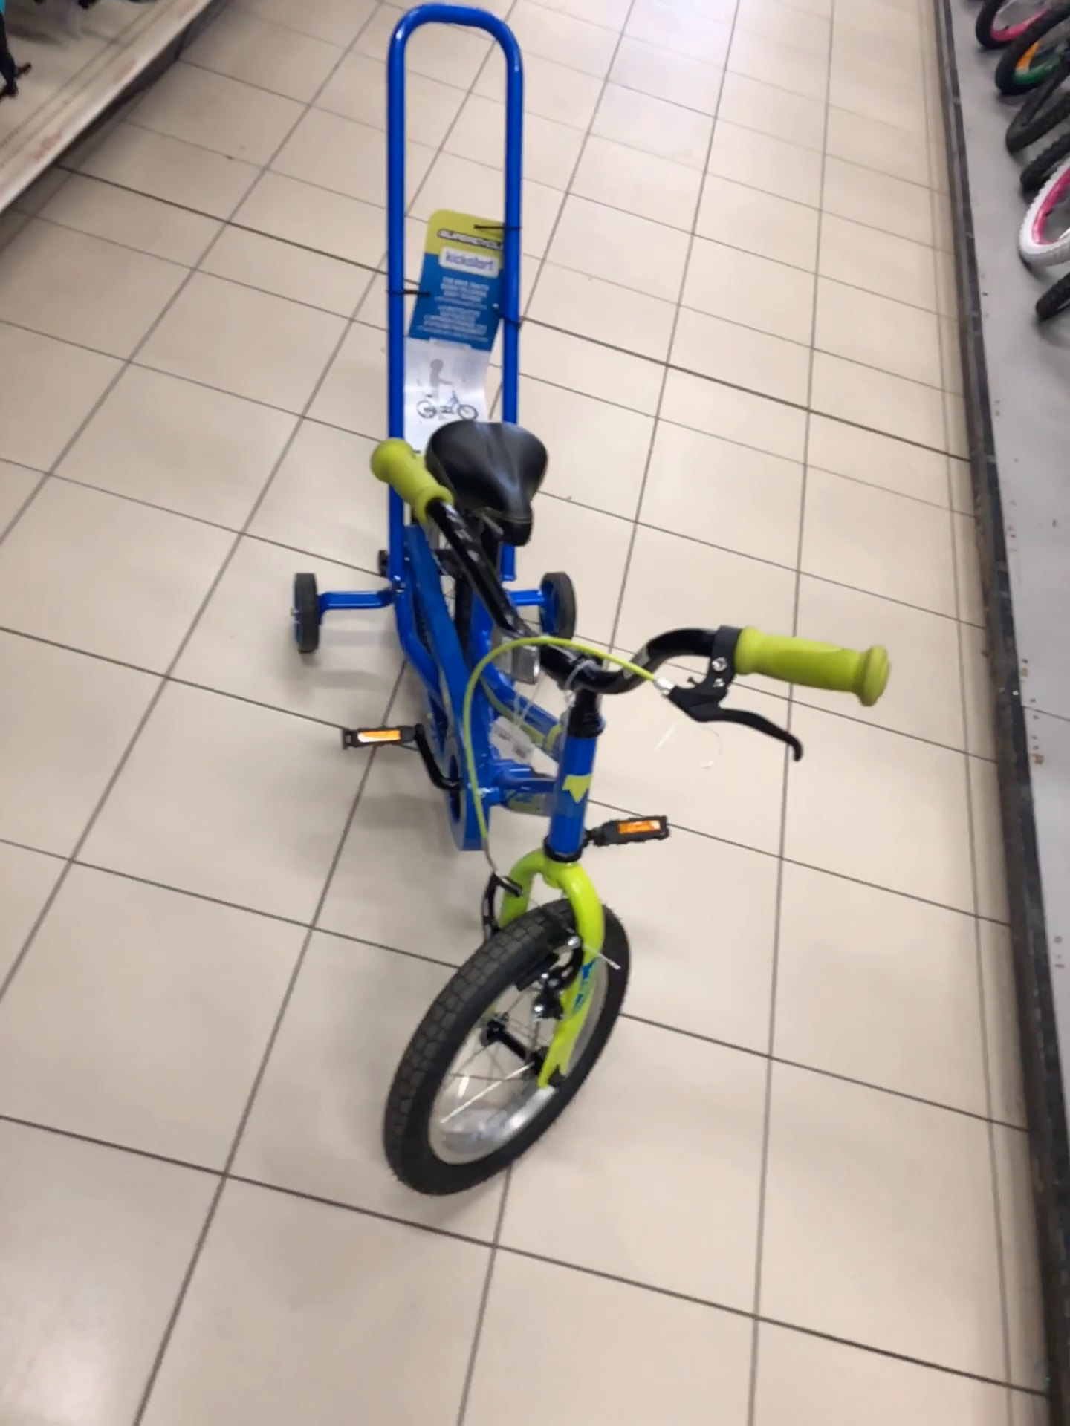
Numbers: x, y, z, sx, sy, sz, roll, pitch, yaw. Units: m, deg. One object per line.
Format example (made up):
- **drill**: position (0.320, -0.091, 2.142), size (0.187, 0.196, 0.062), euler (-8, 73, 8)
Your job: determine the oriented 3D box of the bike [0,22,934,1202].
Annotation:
- **bike**: position (-0.117, -0.099, 1.230), size (0.538, 0.763, 0.957), euler (7, 50, -12)
